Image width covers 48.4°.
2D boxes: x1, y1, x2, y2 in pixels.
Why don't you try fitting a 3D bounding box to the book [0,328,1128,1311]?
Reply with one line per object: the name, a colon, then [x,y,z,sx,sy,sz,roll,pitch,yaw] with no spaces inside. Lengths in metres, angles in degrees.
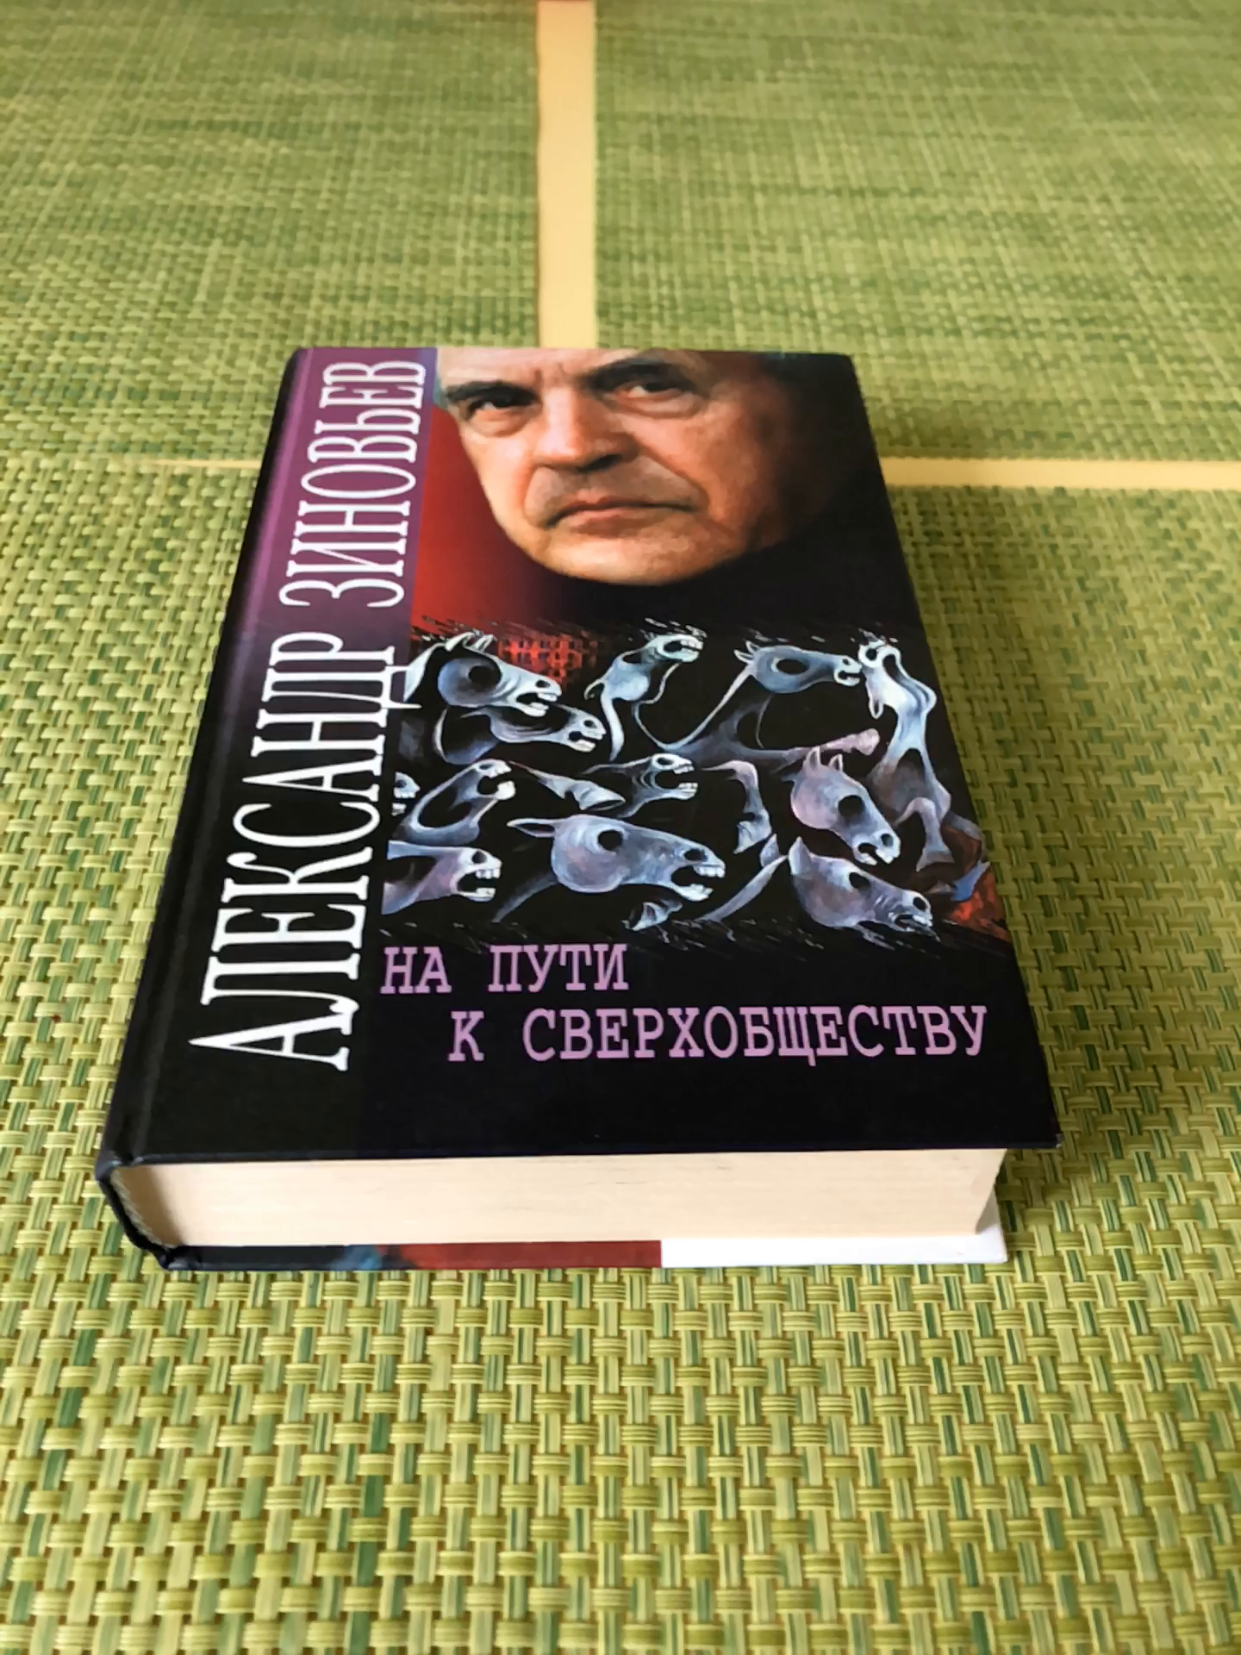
book: [-0.014,-0.019,0.253,0.150,0.040,0.201,0,49,-3]
